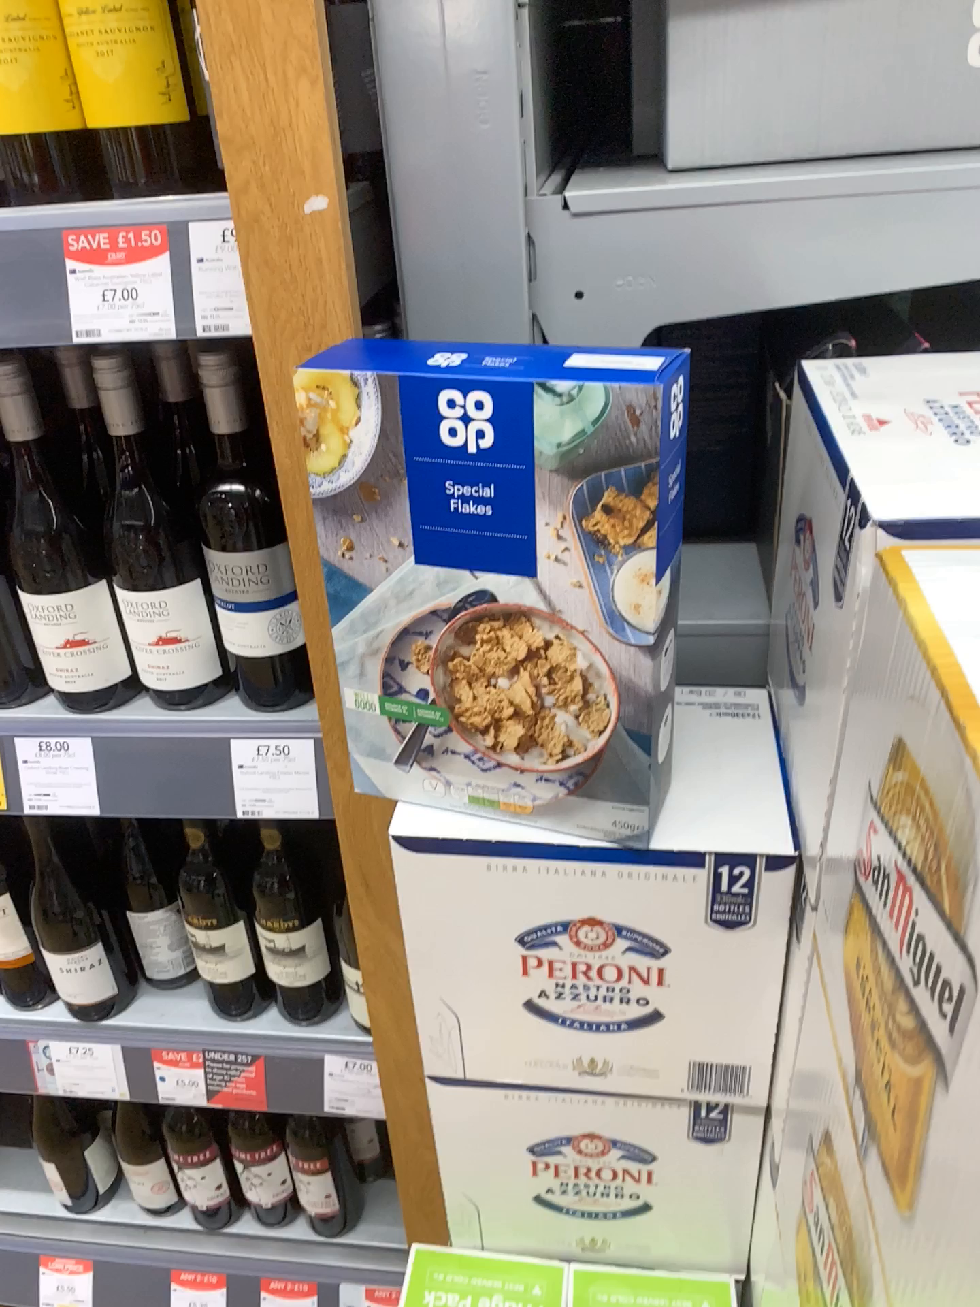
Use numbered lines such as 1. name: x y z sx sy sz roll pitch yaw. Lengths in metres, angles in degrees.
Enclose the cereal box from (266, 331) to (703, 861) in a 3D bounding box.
1. cereal box: 0.006 -0.030 0.554 0.200 0.267 0.071 7 32 20
